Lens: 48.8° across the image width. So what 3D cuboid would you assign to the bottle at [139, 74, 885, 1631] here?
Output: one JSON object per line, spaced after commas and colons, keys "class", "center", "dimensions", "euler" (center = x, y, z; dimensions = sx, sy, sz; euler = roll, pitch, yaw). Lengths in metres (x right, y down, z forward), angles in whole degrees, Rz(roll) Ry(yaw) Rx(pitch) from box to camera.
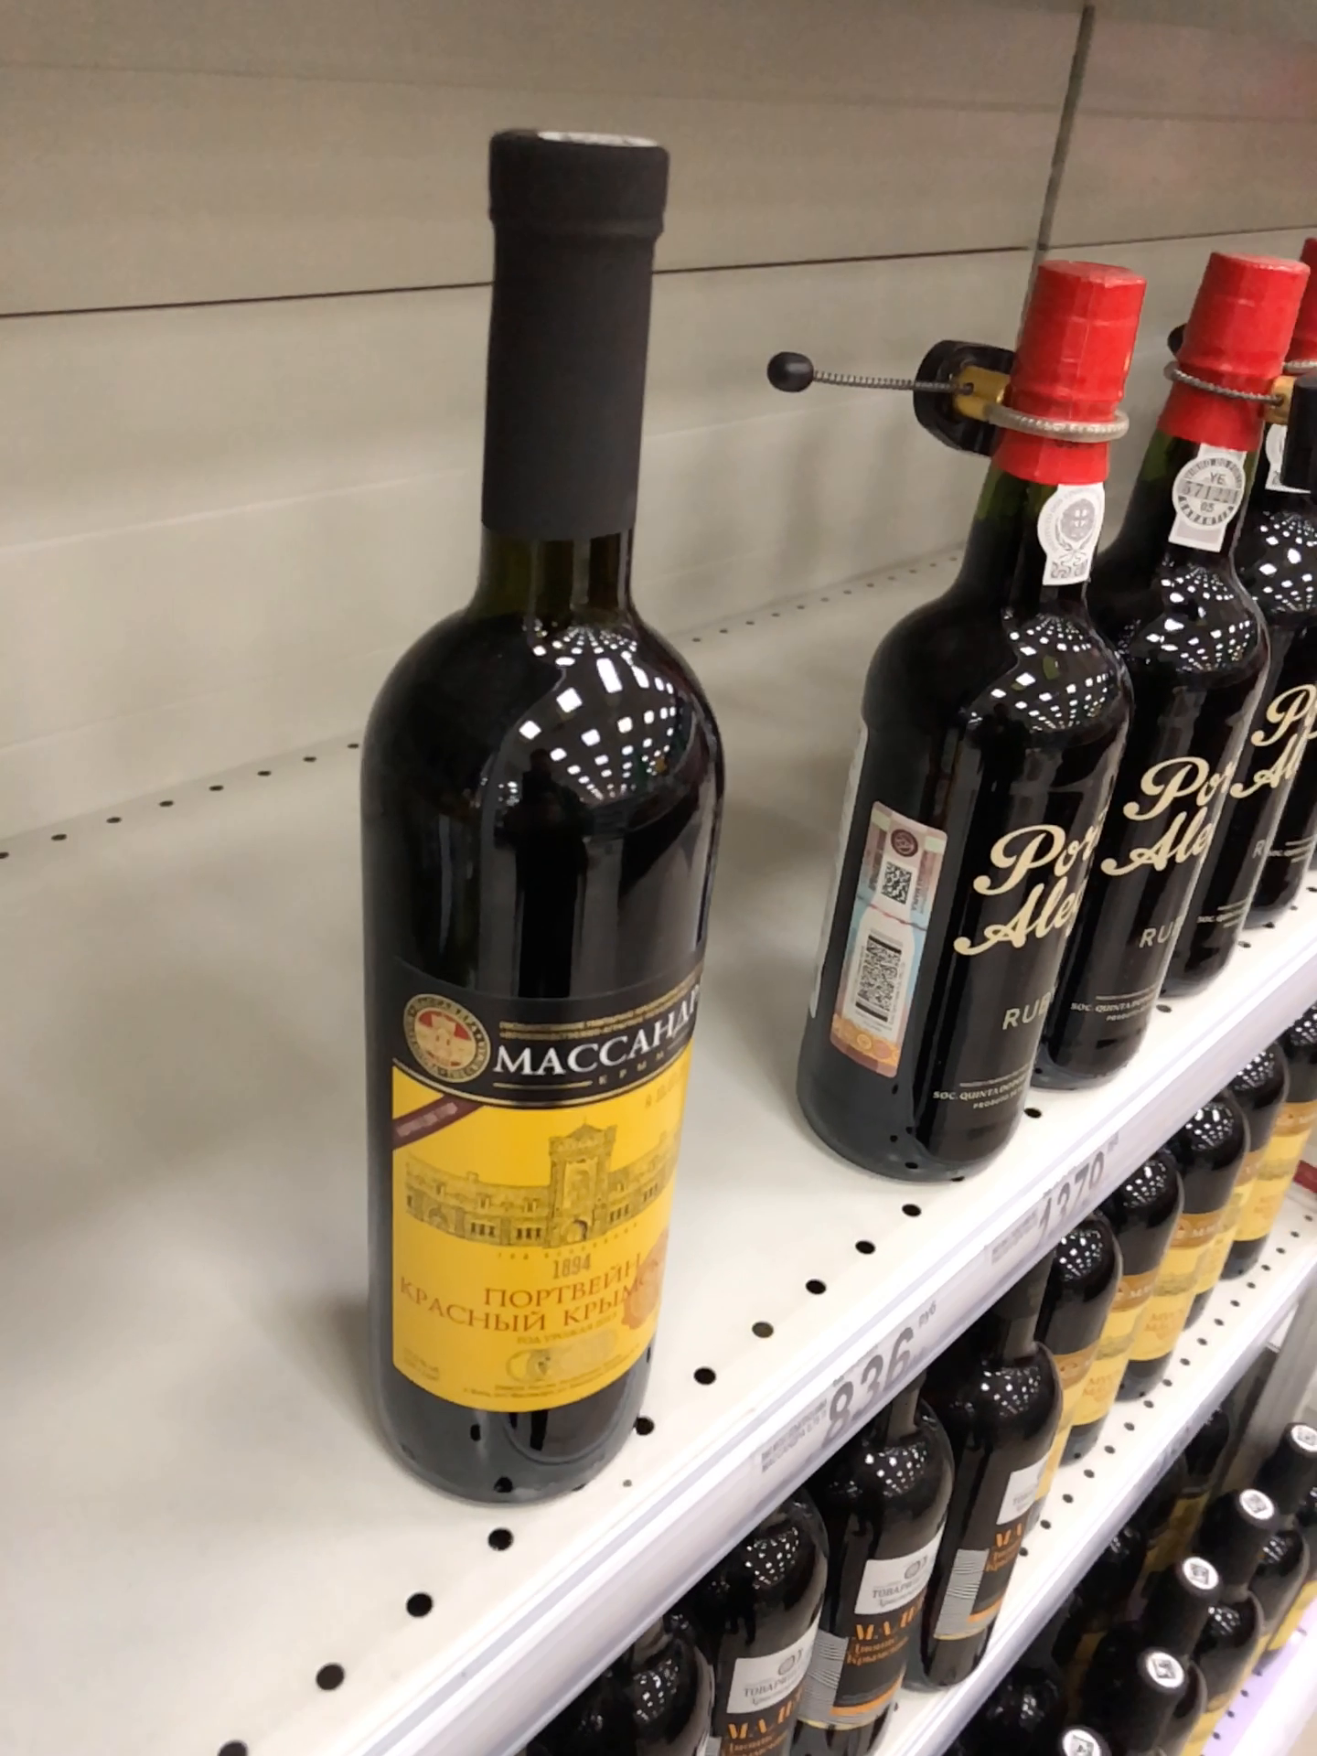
{"class": "bottle", "center": [-0.044, 0.011, 0.349], "dimensions": [0.100, 0.348, 0.100], "euler": [4, 30, -2]}
